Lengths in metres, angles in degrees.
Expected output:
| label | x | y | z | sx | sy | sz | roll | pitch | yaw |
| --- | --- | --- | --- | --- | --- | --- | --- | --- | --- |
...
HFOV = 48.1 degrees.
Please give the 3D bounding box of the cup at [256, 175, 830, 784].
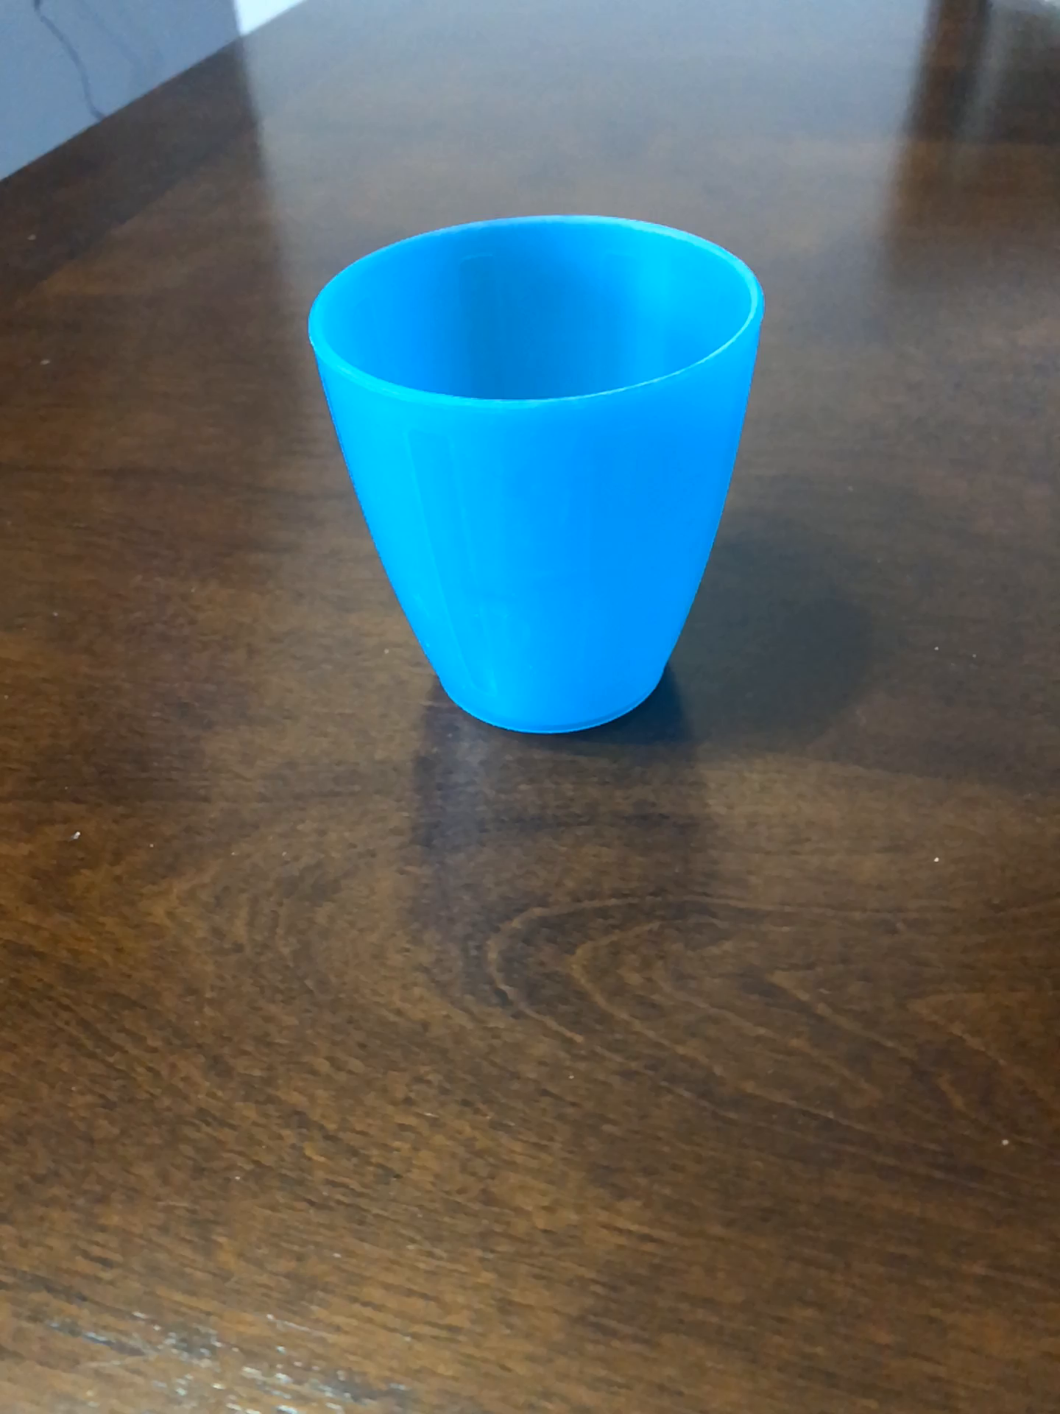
| label | x | y | z | sx | sy | sz | roll | pitch | yaw |
| --- | --- | --- | --- | --- | --- | --- | --- | --- | --- |
| cup | 0.002 | -0.042 | 0.218 | 0.080 | 0.080 | 0.070 | -4 | 42 | 0 |
